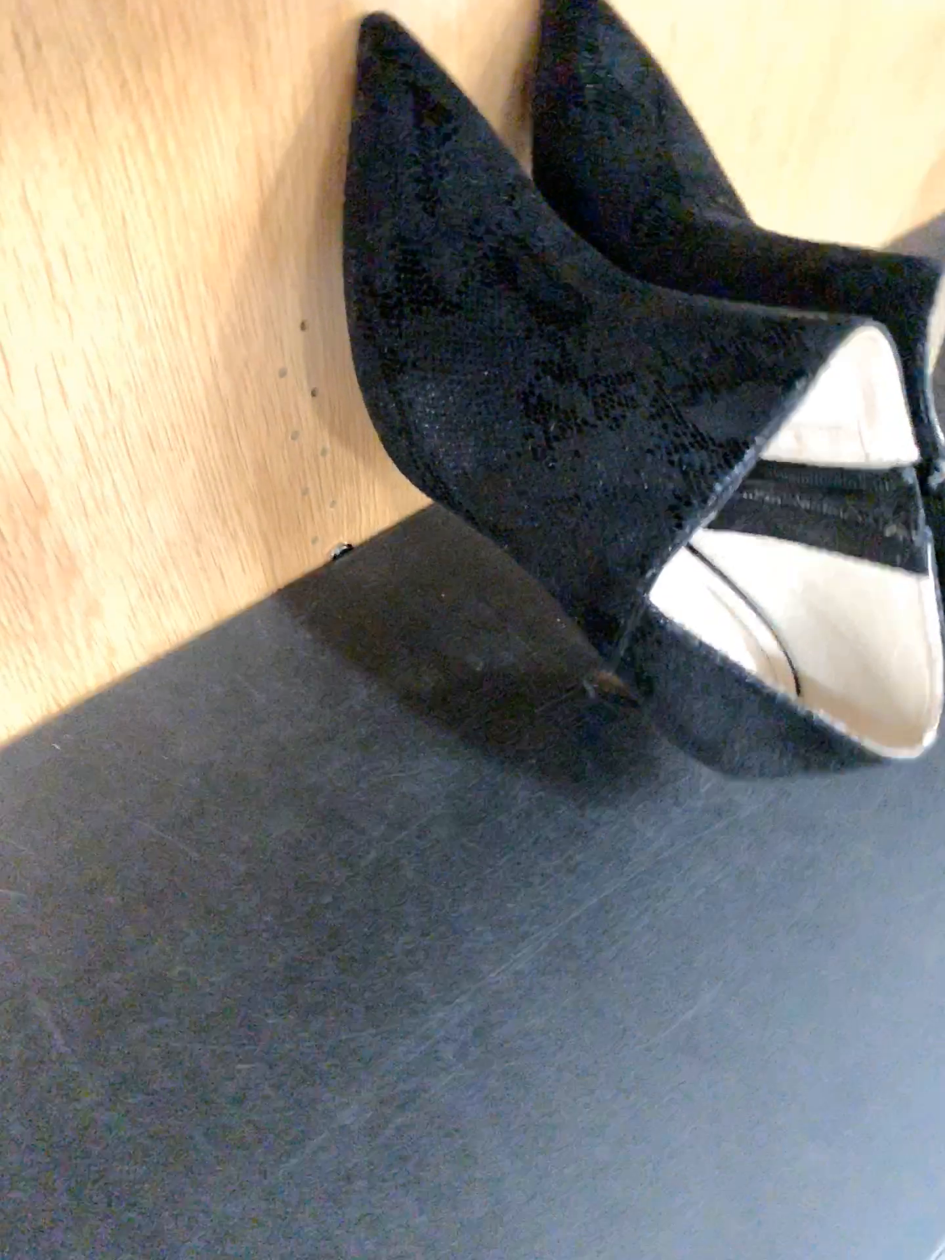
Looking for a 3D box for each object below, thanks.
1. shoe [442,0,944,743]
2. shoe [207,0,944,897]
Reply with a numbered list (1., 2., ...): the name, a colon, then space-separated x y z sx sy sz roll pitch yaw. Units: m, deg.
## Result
1. shoe: 0.113 -0.118 0.365 0.111 0.279 0.120 -29 17 -14
2. shoe: 0.043 -0.071 0.313 0.101 0.269 0.140 -33 18 -24
